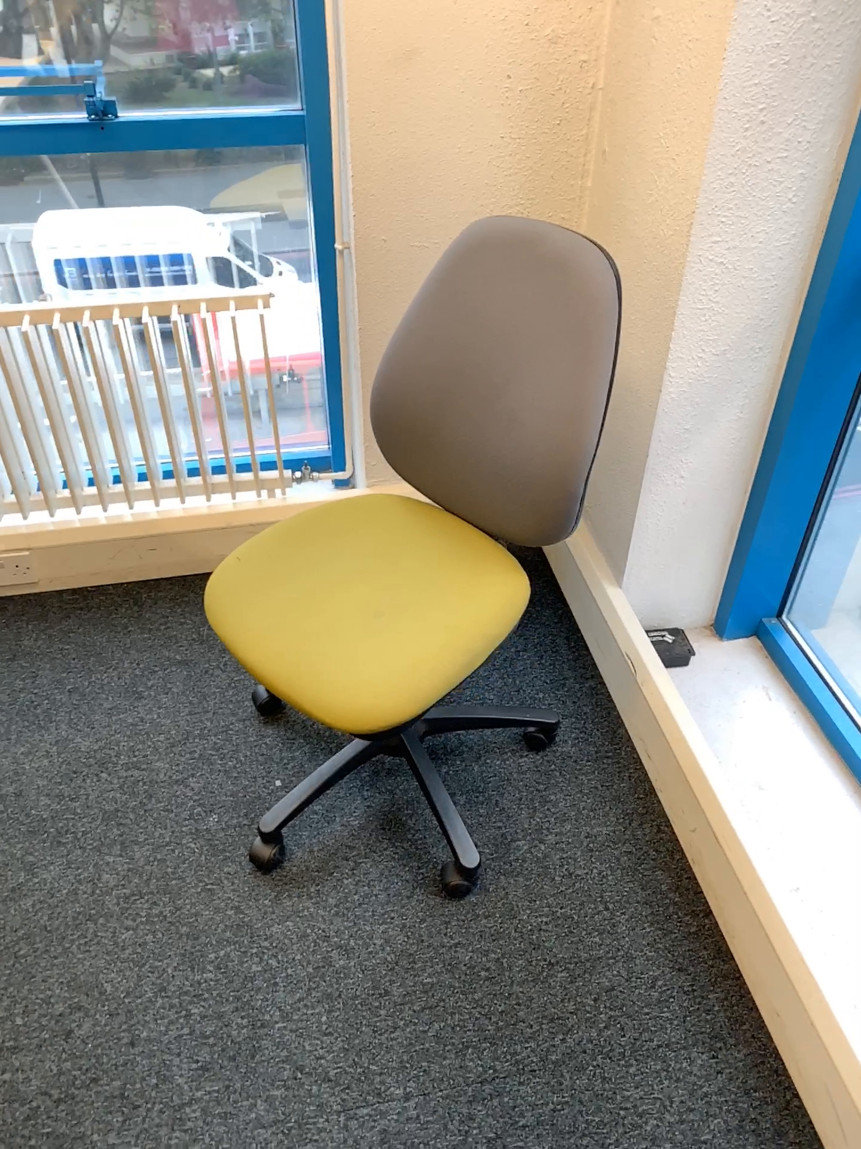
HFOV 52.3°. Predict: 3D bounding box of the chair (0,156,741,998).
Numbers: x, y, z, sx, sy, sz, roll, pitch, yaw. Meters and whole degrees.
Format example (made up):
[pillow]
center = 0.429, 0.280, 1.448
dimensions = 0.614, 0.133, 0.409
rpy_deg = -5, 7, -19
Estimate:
[chair]
center = -0.101, -0.045, 1.355
dimensions = 0.696, 0.877, 0.680
rpy_deg = 31, 48, 32
